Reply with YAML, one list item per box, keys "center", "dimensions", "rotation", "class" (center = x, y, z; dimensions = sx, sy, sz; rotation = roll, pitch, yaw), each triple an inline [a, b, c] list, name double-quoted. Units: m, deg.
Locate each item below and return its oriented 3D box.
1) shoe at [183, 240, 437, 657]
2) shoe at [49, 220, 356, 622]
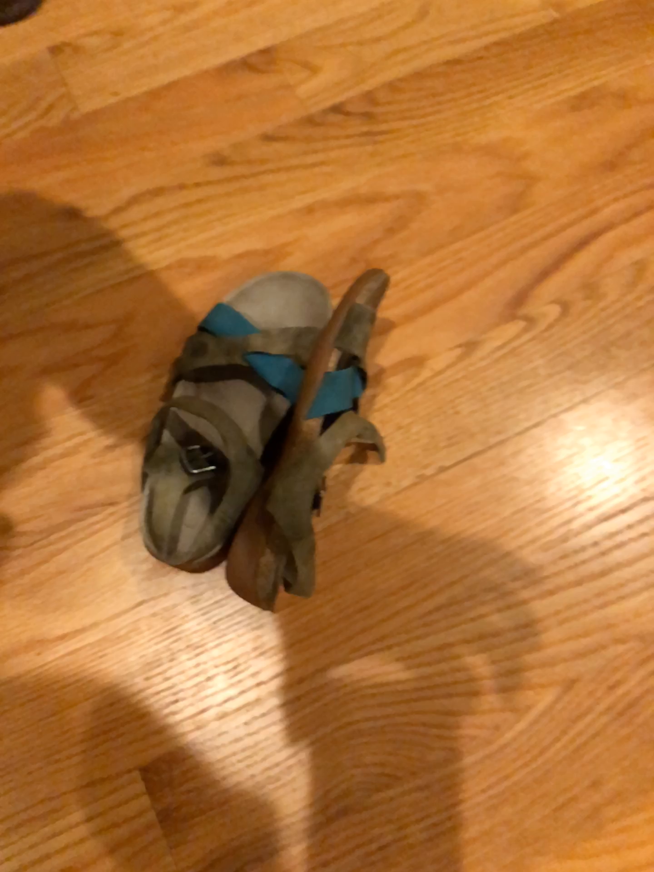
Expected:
- center: [-0.005, 0.010, 0.461]
  dimensions: [0.065, 0.104, 0.238]
  rotation: [19, 72, 5]
  class: "shoe"
- center: [-0.072, -0.012, 0.489]
  dimensions: [0.104, 0.075, 0.241]
  rotation: [19, 72, 5]
  class: "shoe"
